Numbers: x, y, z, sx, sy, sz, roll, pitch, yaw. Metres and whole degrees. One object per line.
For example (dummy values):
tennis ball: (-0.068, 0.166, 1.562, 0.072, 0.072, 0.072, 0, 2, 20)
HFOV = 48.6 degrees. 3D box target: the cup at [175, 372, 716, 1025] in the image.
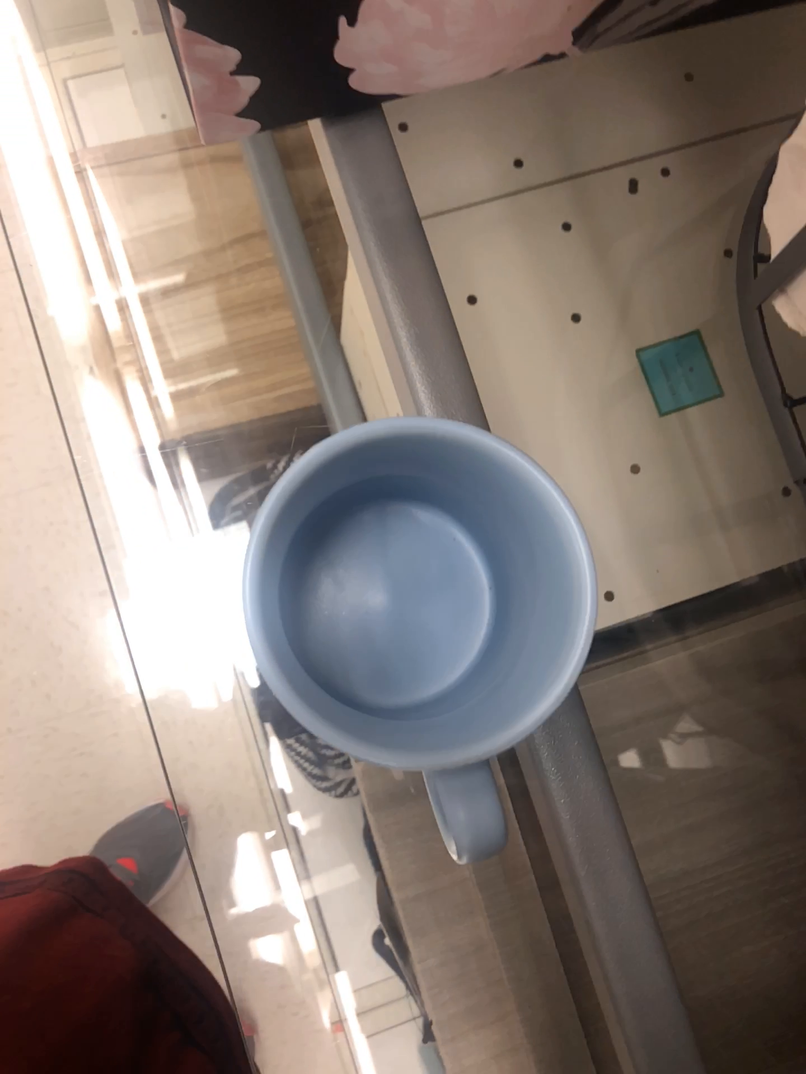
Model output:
cup: (0.006, 0.042, 0.276, 0.100, 0.101, 0.139, -17, 85, -7)
